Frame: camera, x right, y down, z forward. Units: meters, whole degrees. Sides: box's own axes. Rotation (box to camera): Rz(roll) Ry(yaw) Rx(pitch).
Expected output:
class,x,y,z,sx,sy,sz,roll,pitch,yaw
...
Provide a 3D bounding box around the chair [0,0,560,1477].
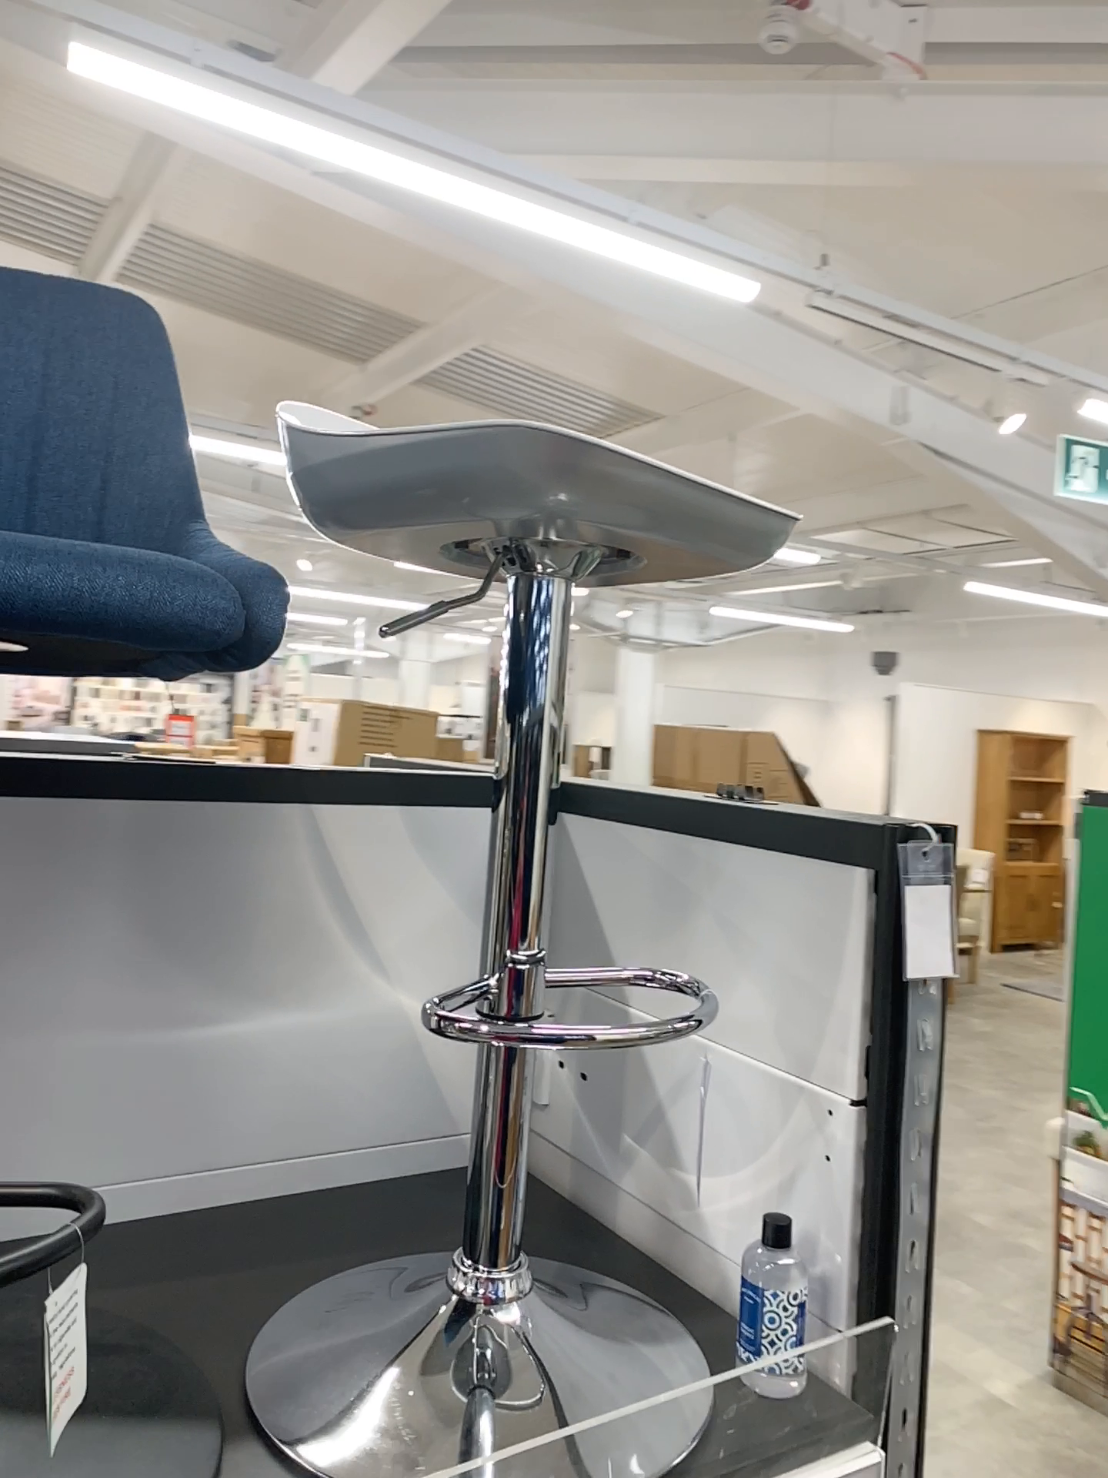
class,x,y,z,sx,sy,sz,roll,pitch,yaw
chair,-0.383,0.020,0.742,0.532,0.883,0.483,5,-1,-37

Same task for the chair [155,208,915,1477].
class,x,y,z,sx,sy,sz,roll,pitch,yaw
chair,-0.018,0.096,0.927,0.402,0.803,0.403,5,-1,-42
